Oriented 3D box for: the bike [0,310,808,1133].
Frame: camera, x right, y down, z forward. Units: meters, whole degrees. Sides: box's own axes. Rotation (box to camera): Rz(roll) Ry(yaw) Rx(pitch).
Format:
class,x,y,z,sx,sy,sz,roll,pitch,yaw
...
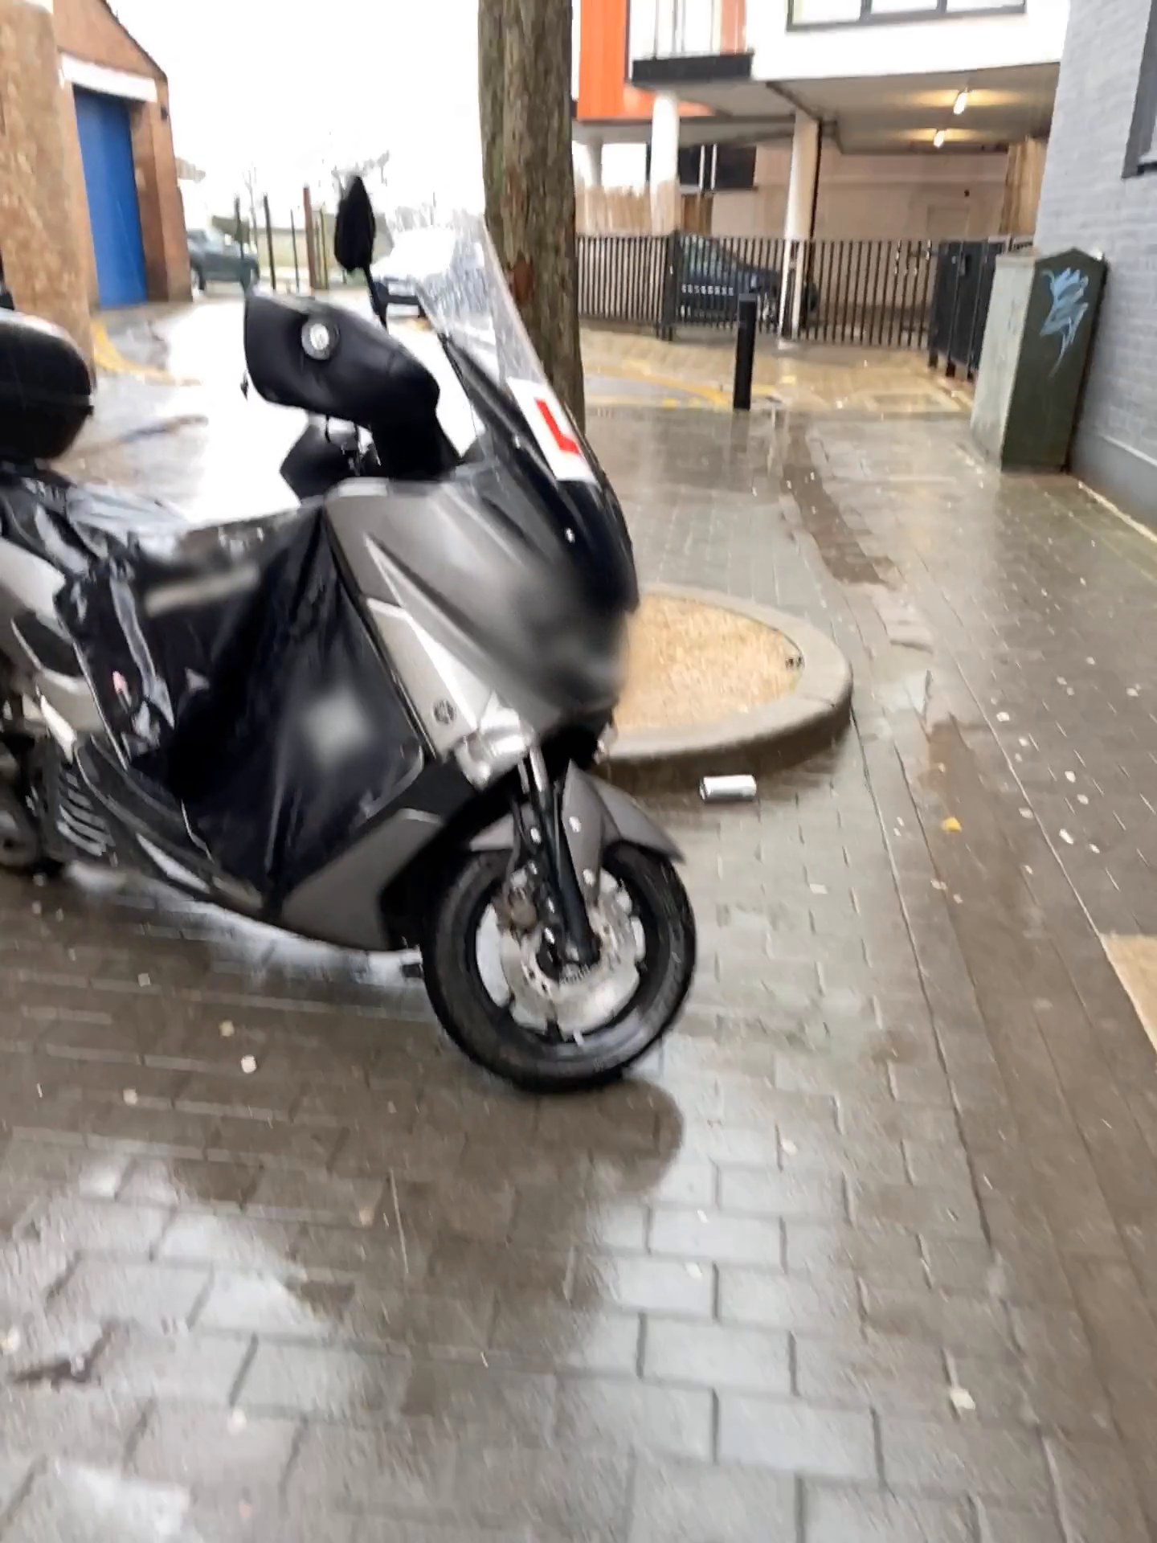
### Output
class,x,y,z,sx,sy,sz,roll,pitch,yaw
bike,-0.544,-0.232,2.294,1.731,1.122,0.762,11,25,19
